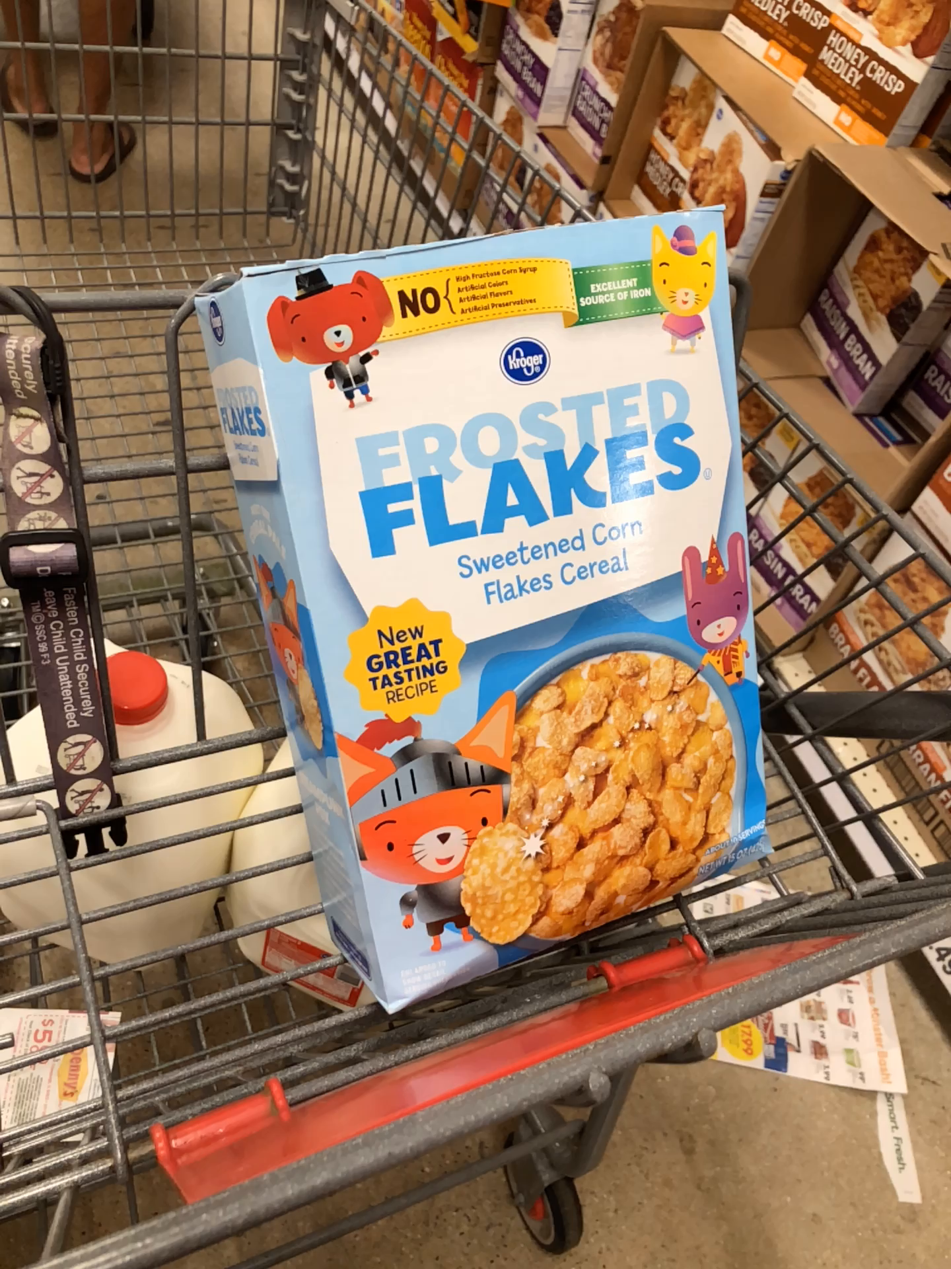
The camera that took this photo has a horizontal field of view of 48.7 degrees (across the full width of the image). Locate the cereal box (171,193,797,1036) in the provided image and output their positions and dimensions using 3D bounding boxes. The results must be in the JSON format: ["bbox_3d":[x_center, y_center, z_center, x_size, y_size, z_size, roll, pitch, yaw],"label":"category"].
[{"bbox_3d":[0.017,-0.017,0.414,0.200,0.270,0.070,-16,15,-27],"label":"cereal box"}]
